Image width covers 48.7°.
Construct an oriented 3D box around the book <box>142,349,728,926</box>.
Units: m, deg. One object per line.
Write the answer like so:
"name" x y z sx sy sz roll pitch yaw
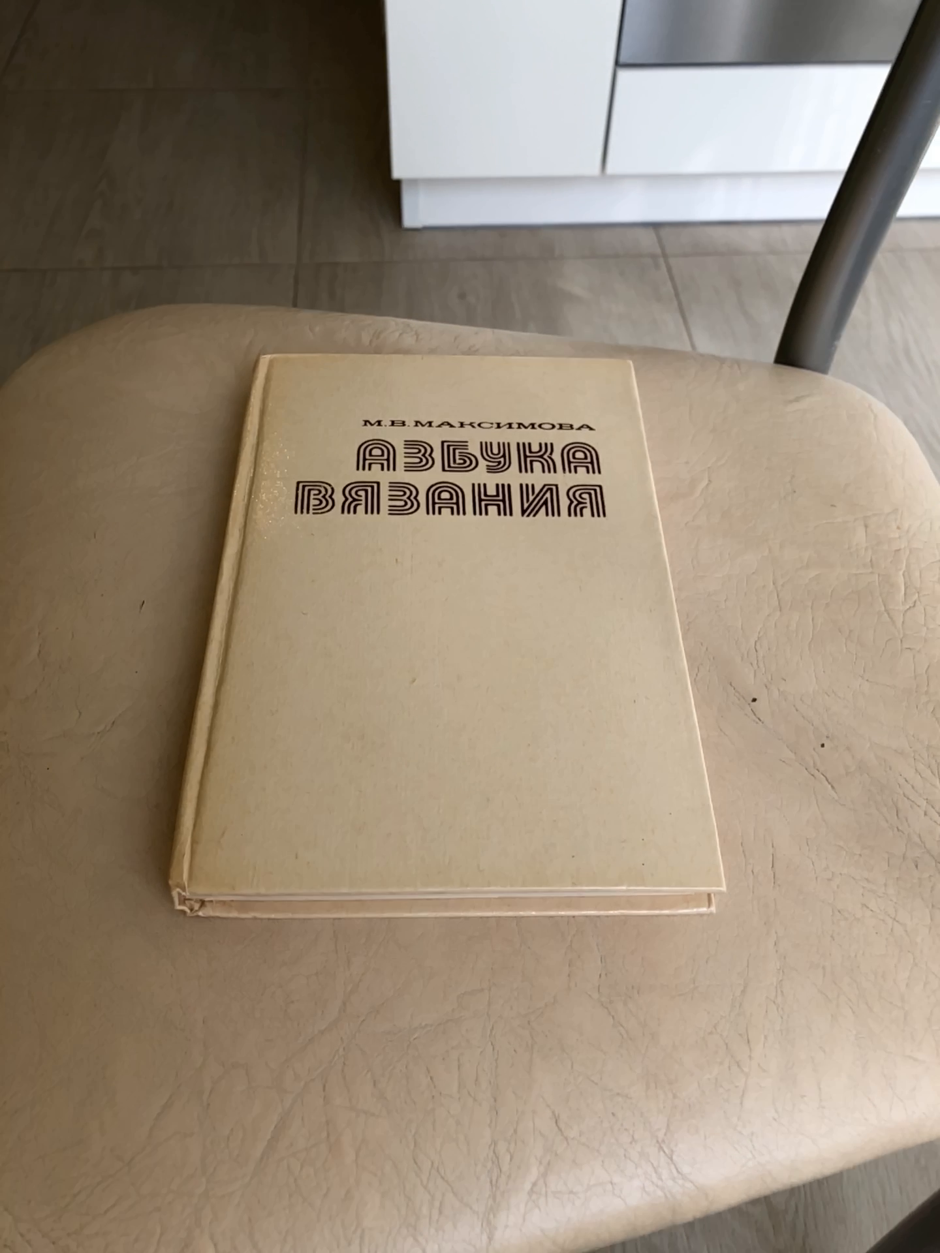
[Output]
"book" -0.010 -0.012 0.340 0.148 0.024 0.219 0 52 -1
